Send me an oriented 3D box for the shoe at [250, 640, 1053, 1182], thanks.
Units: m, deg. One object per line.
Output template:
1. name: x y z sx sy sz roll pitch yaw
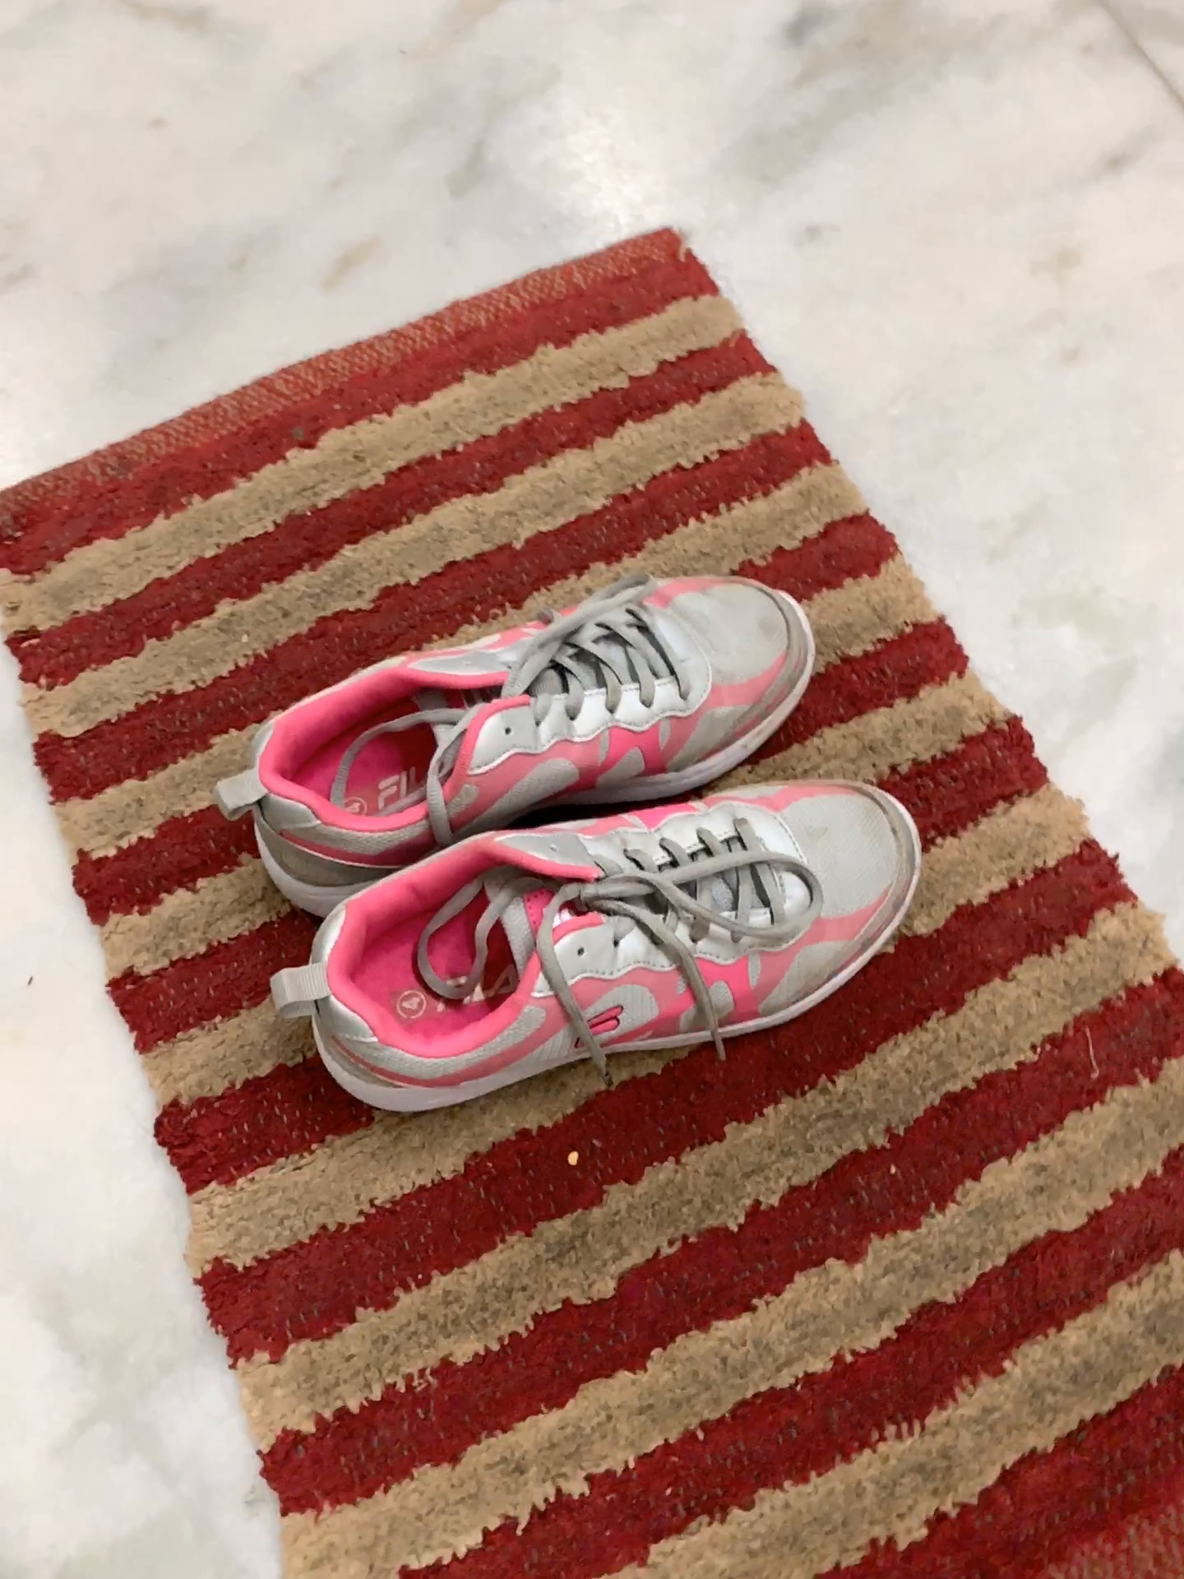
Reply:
1. shoe: 0.017 0.047 0.425 0.230 0.100 0.100 -18 69 -4

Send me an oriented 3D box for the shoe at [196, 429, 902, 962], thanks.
1. shoe: -0.014 -0.032 0.470 0.230 0.100 0.090 -23 69 -6
